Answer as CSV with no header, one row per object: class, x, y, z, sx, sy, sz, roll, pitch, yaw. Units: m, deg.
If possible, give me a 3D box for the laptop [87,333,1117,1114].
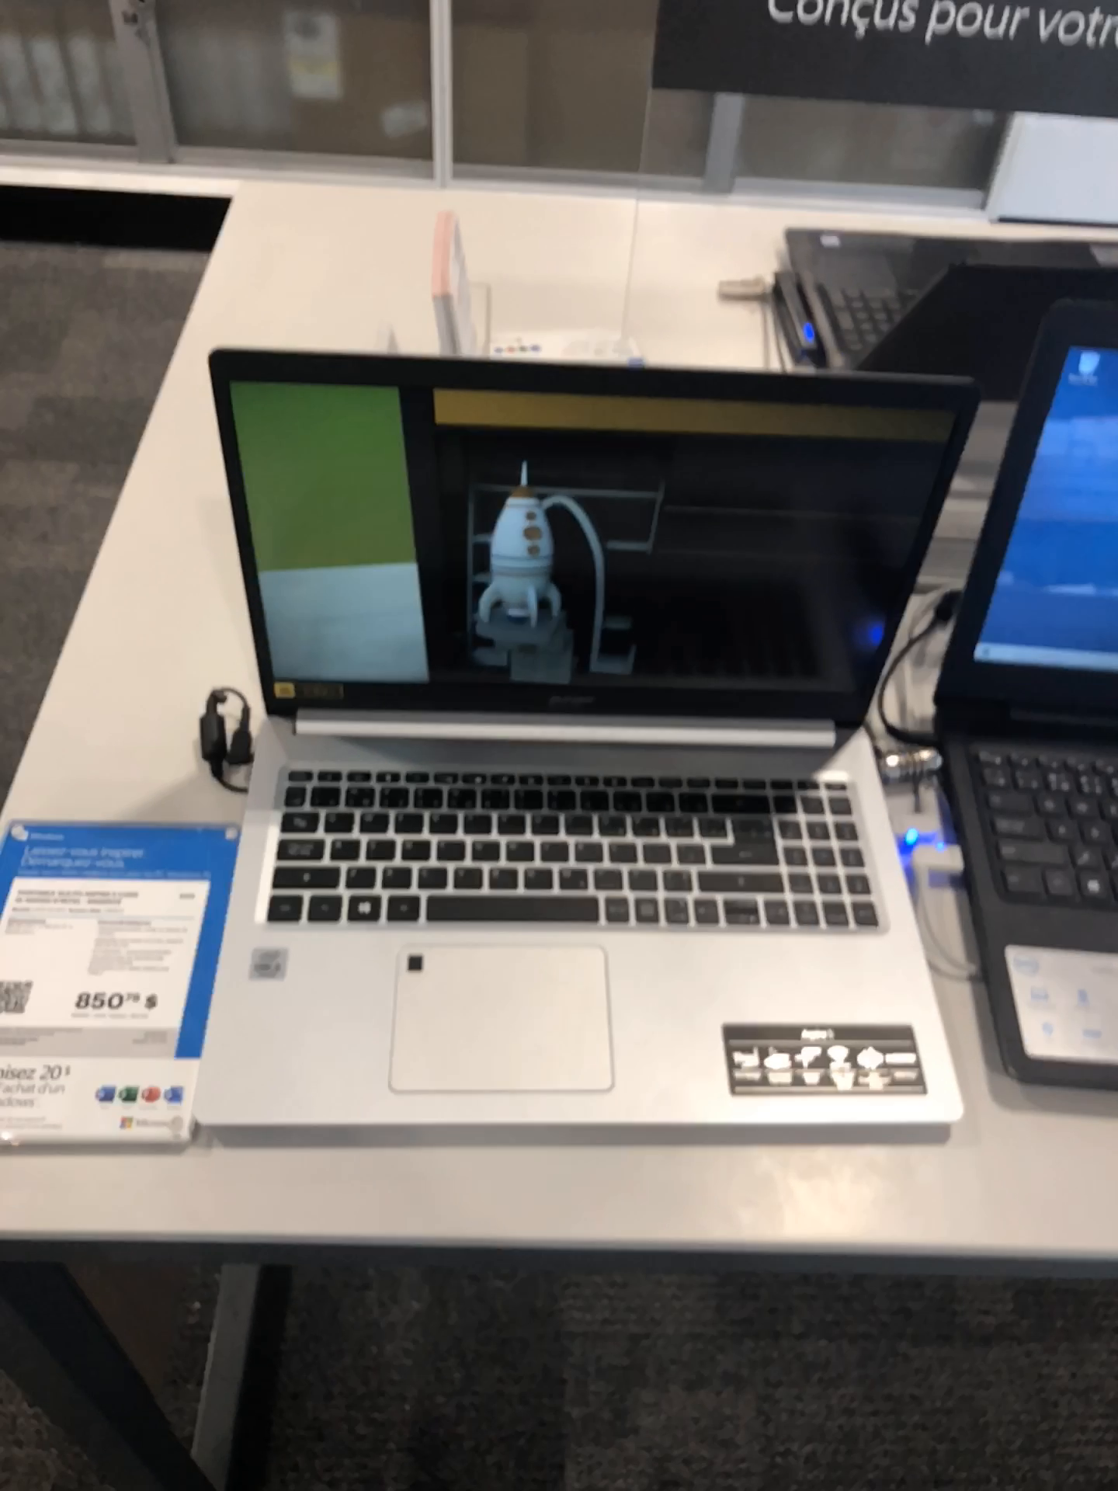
laptop,0.012,-0.008,0.577,0.349,0.229,0.267,1,50,-3
